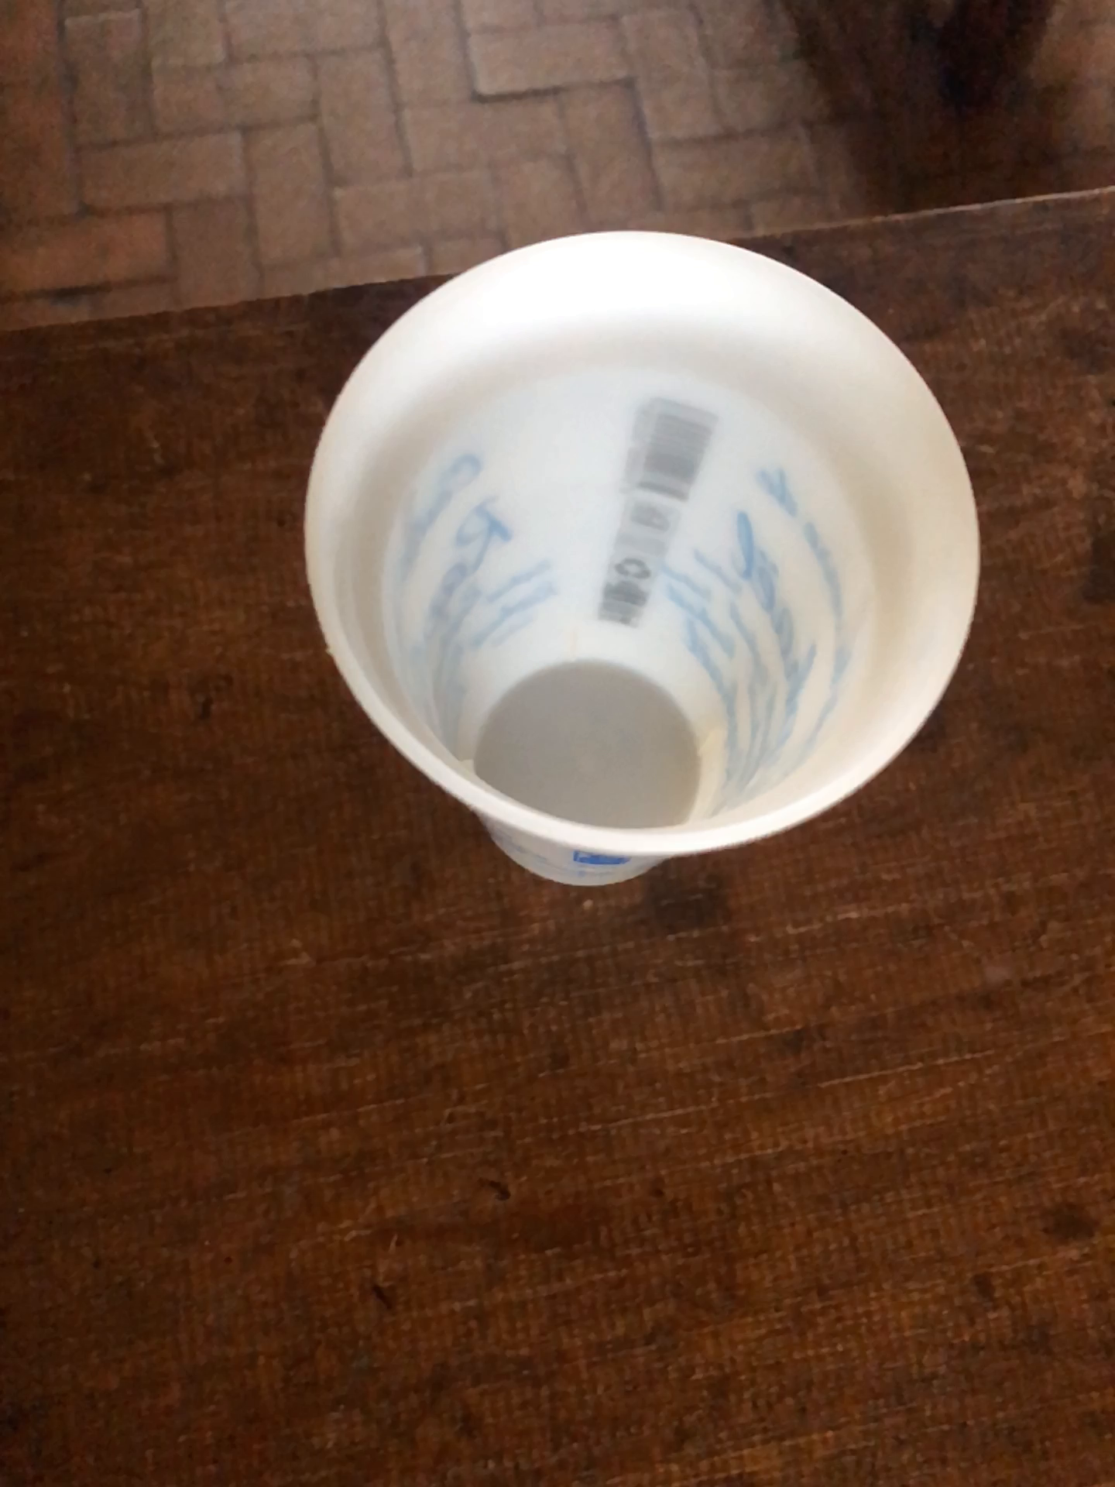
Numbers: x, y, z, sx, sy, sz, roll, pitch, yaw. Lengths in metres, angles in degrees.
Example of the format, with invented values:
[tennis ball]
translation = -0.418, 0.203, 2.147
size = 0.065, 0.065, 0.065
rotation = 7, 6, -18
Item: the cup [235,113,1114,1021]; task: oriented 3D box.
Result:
[cup]
translation = 0.016, -0.012, 0.199
size = 0.080, 0.120, 0.080
rotation = 0, 75, -2
